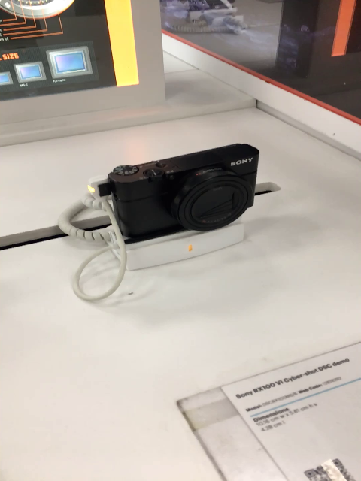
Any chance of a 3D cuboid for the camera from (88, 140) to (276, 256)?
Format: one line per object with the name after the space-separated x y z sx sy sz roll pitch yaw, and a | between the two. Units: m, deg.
0.002 -0.034 0.364 0.123 0.059 0.043 -15 44 -16 | camera
